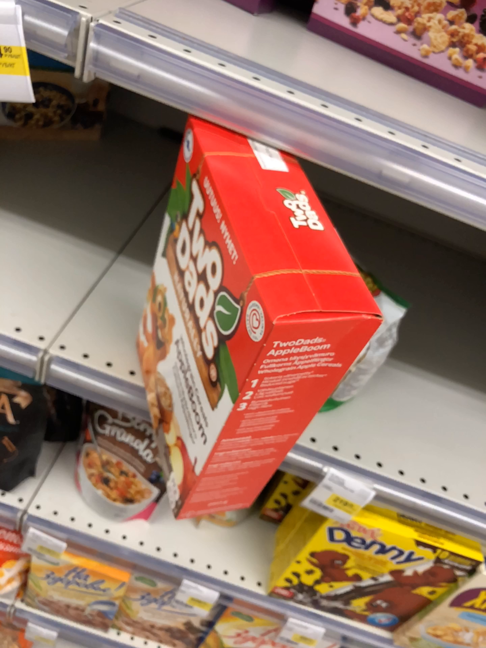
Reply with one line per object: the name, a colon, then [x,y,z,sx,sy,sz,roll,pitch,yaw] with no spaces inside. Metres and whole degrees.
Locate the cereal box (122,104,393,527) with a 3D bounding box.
cereal box: [-0.022,0.007,0.436,0.080,0.268,0.201,-3,52,-24]
